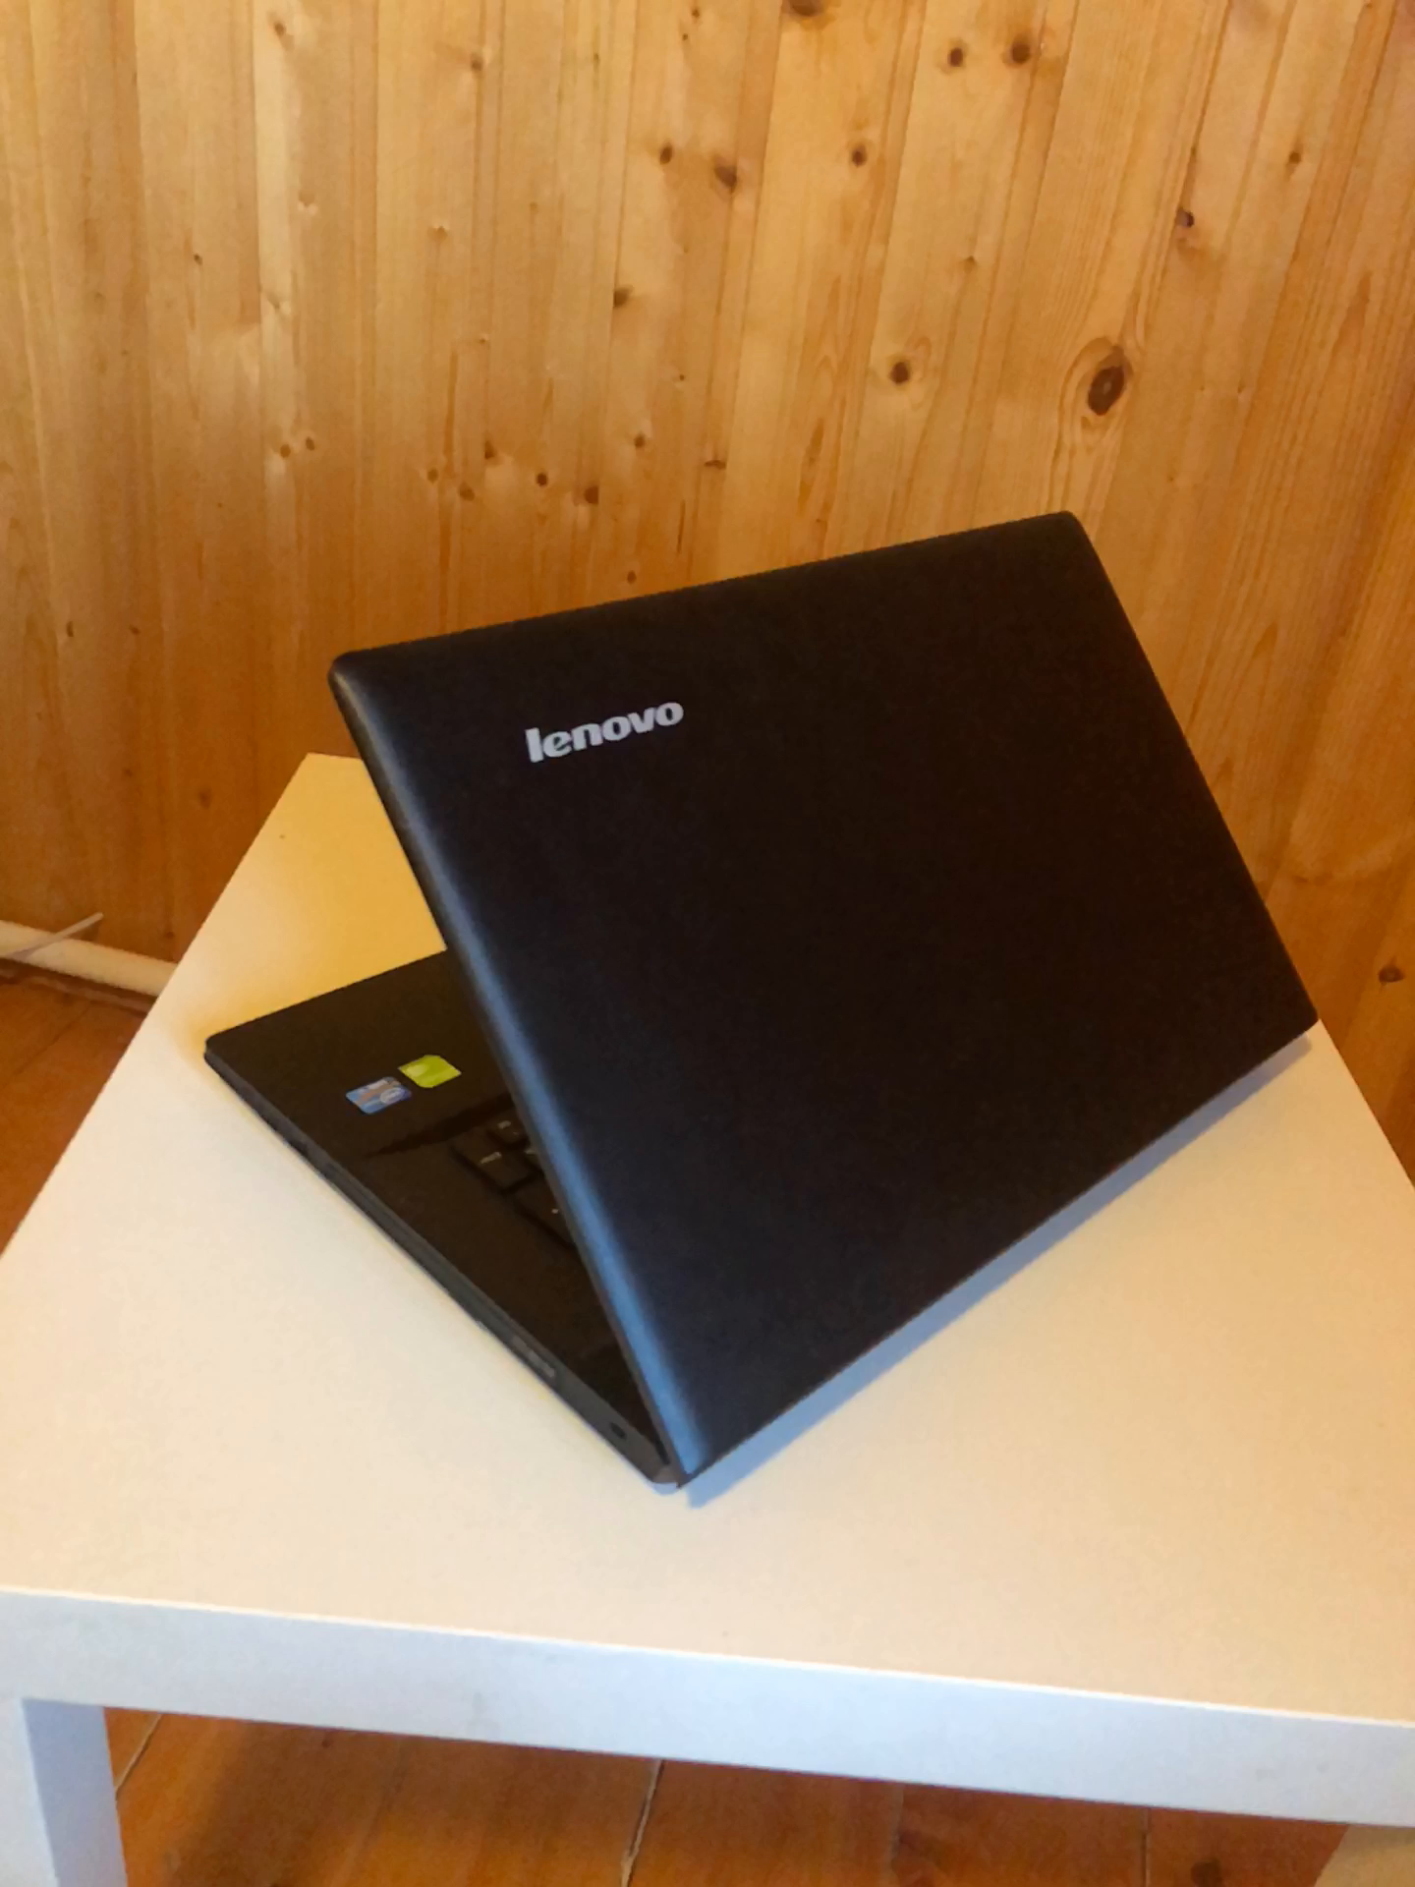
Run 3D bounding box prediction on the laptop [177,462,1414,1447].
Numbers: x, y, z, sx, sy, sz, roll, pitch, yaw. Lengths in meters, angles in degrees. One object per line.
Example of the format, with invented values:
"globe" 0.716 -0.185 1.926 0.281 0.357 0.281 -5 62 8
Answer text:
"laptop" 0.042 -0.045 0.610 0.390 0.179 0.261 -23 41 -40
